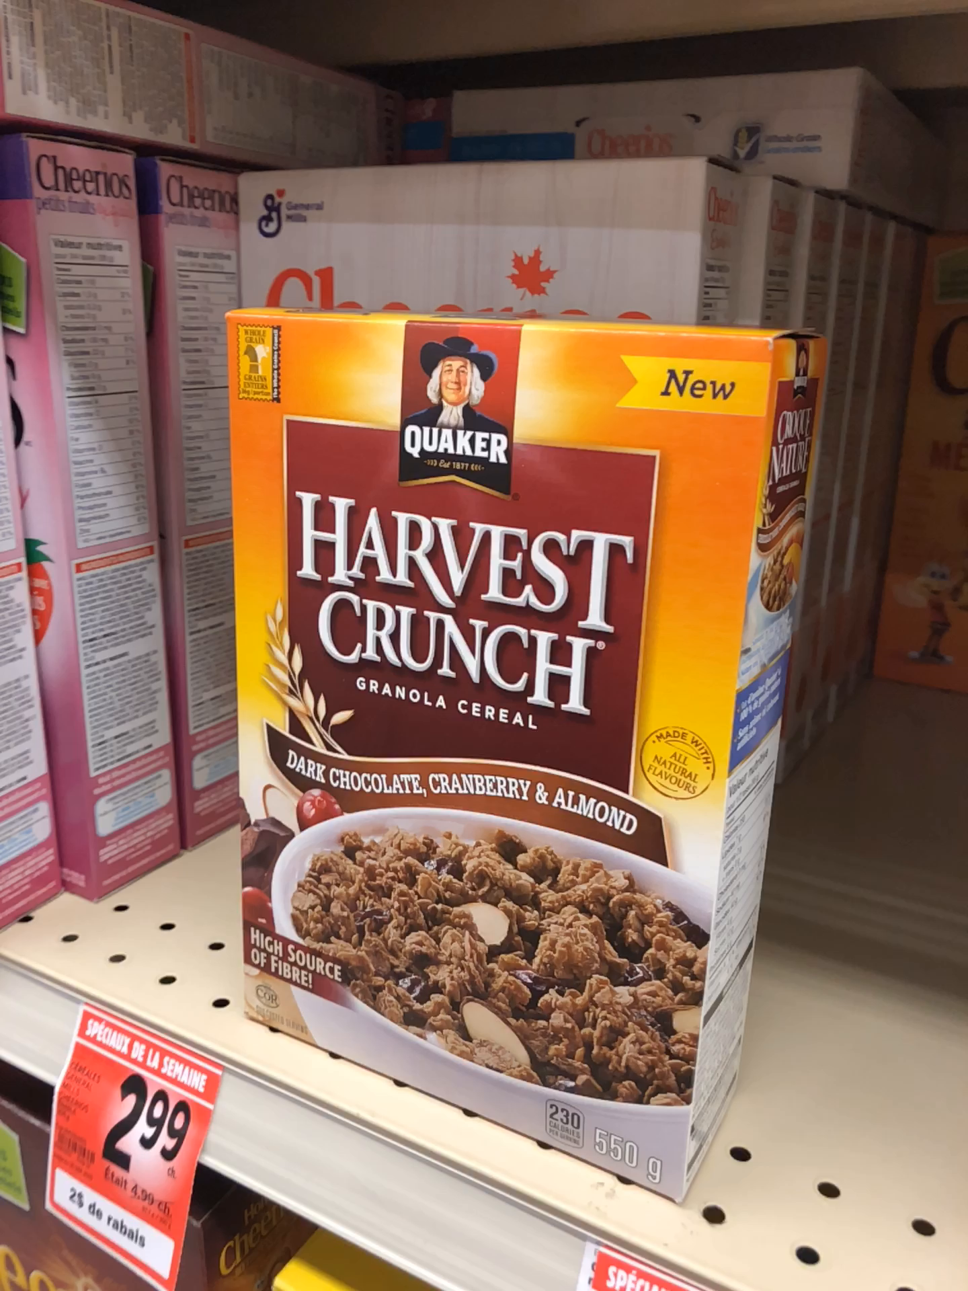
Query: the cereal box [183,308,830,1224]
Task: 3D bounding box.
[{"bbox_3d":[-0.002,0.024,0.329,0.170,0.239,0.060,11,18,27],"label":"cereal box"}]
